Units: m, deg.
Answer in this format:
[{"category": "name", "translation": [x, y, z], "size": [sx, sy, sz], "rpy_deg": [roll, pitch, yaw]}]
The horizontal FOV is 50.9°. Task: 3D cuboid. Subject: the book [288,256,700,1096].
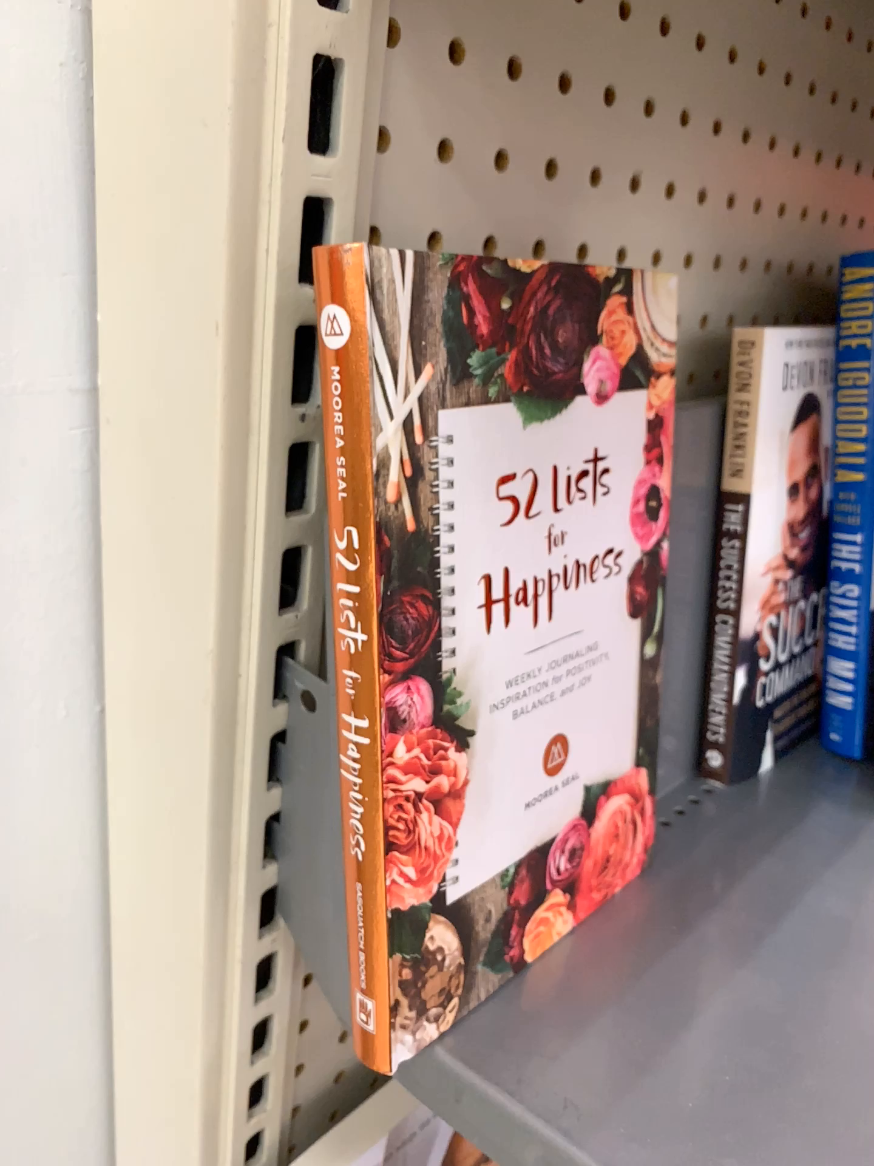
[{"category": "book", "translation": [0.029, 0.018, 0.280], "size": [0.020, 0.216, 0.150], "rpy_deg": [12, 21, 43]}]
